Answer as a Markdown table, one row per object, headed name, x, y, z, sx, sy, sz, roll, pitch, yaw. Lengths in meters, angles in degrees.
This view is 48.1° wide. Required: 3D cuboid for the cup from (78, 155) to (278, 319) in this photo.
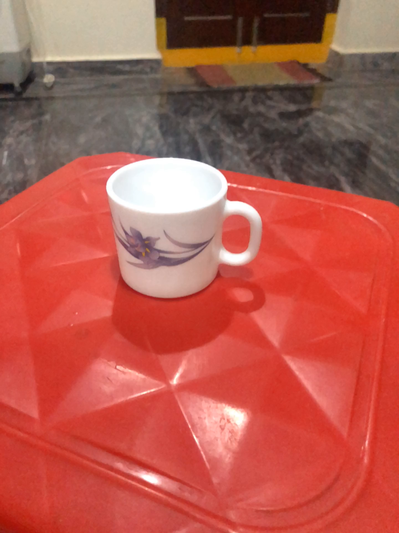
| name | x | y | z | sx | sy | sz | roll | pitch | yaw |
| --- | --- | --- | --- | --- | --- | --- | --- | --- | --- |
| cup | -0.012 | -0.019 | 0.248 | 0.090 | 0.060 | 0.070 | -2 | 37 | -3 |
